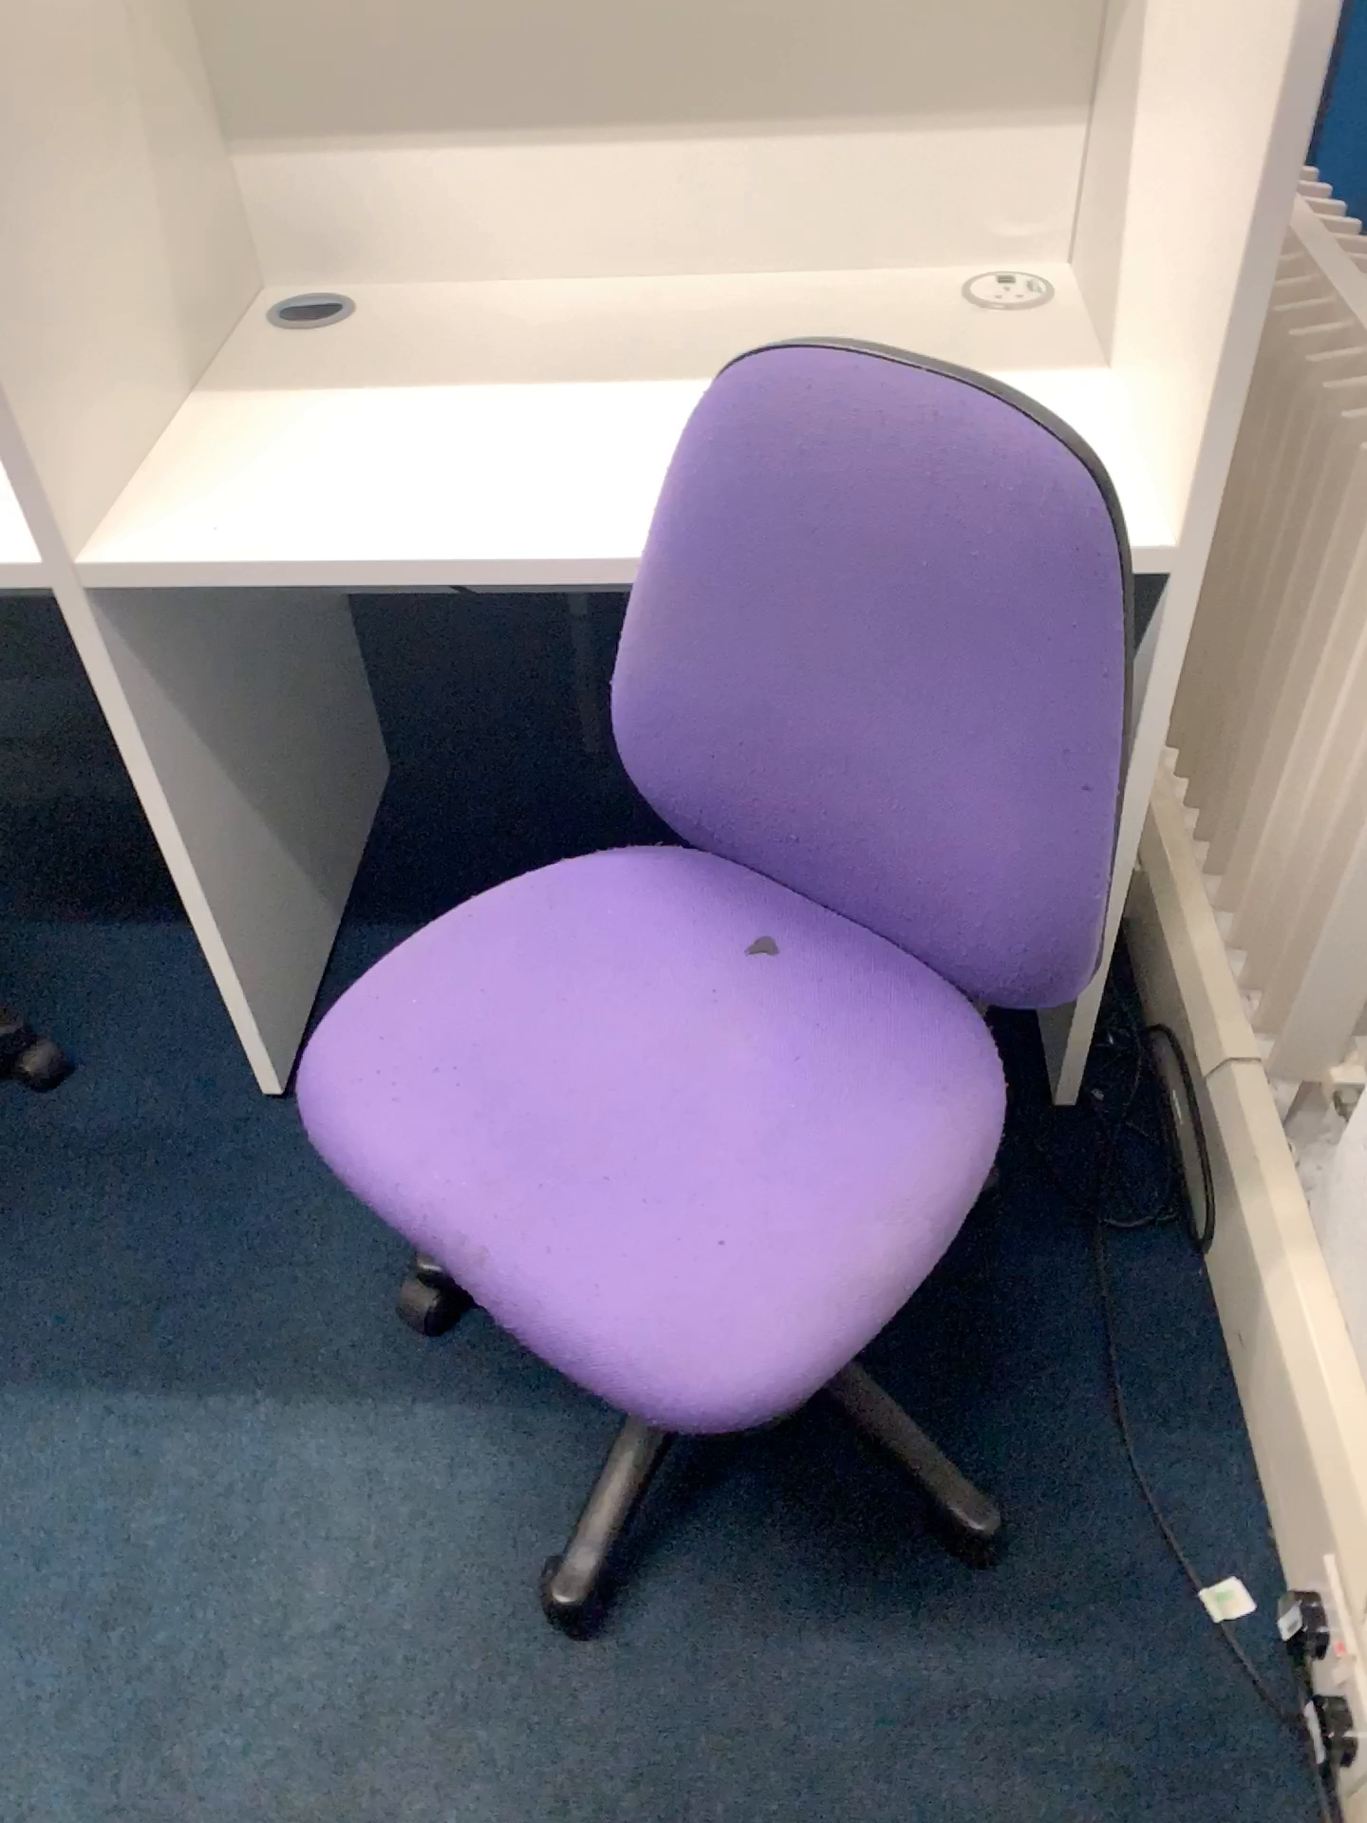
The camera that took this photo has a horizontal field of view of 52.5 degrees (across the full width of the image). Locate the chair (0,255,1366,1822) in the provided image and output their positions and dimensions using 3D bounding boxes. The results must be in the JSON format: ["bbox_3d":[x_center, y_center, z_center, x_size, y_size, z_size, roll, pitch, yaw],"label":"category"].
[{"bbox_3d":[0.027,0.106,1.082,0.693,0.862,0.653,31,53,30],"label":"chair"}]
